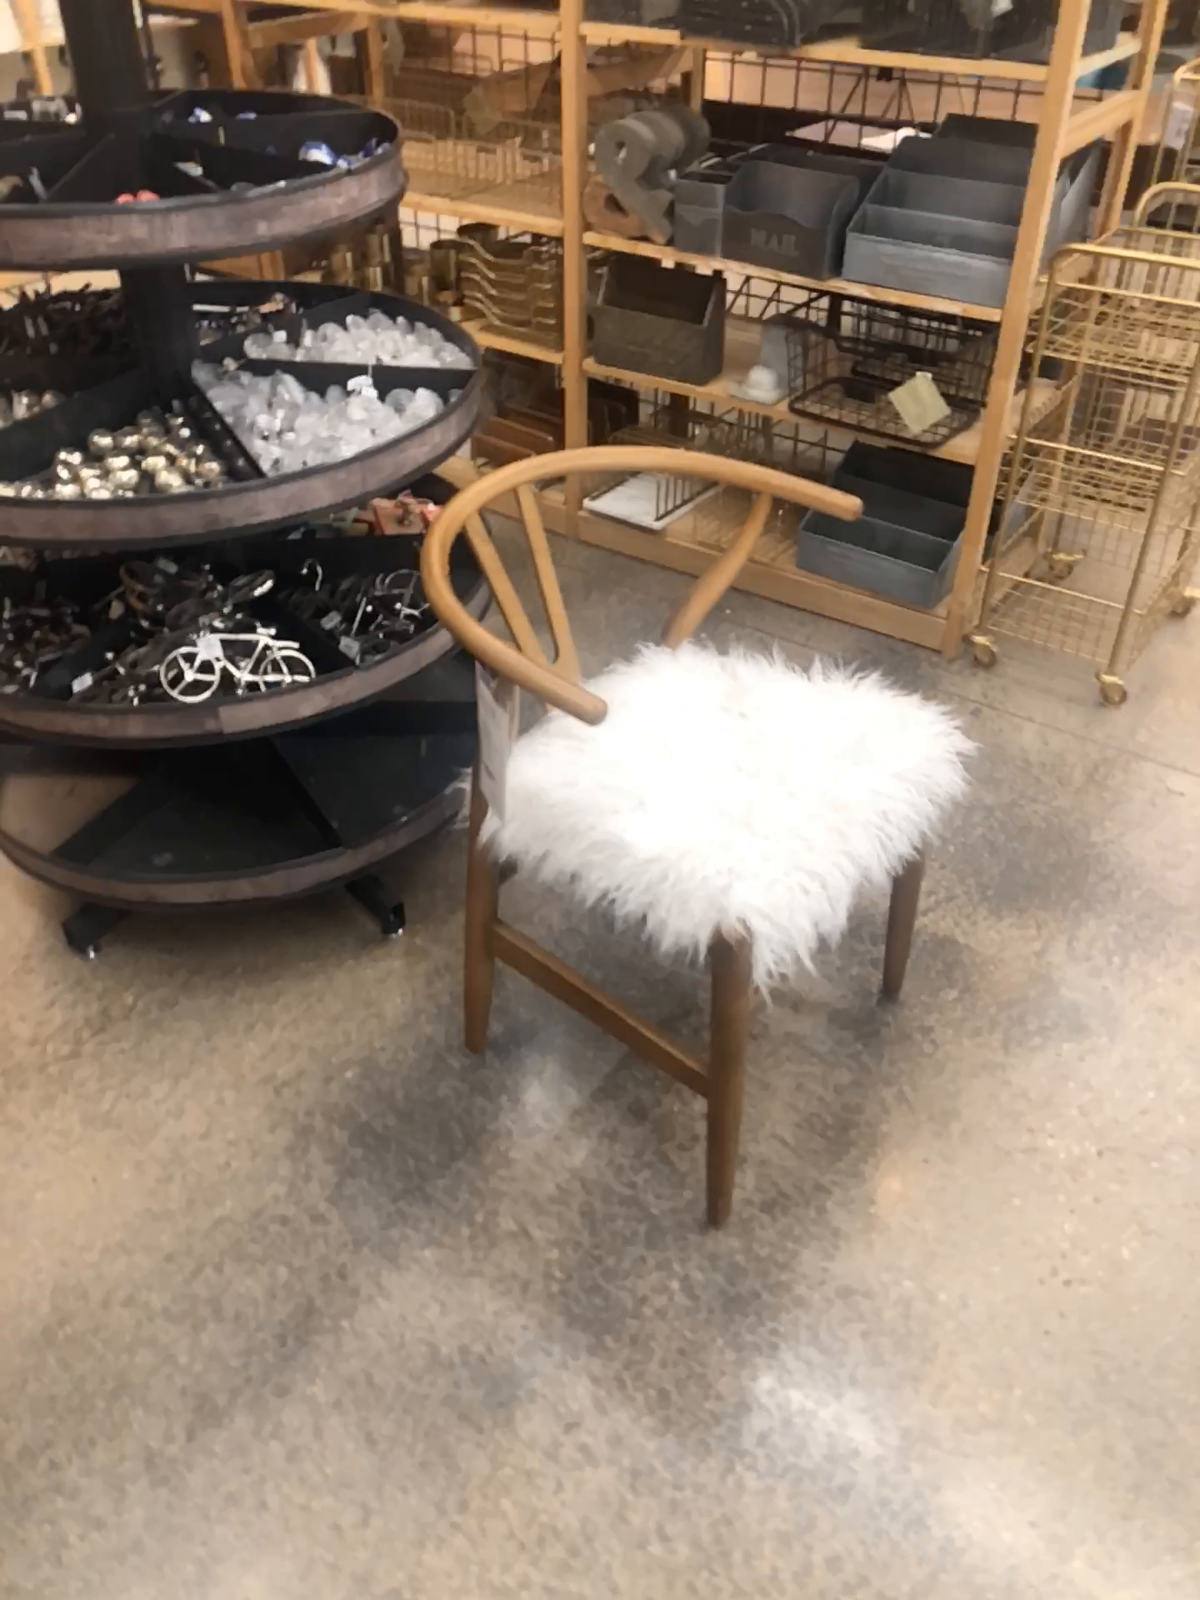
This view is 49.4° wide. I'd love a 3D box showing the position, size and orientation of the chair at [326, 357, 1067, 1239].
[{"bbox_3d":[0.110,-0.030,1.554,0.529,0.731,0.559,26,45,30],"label":"chair"}]
